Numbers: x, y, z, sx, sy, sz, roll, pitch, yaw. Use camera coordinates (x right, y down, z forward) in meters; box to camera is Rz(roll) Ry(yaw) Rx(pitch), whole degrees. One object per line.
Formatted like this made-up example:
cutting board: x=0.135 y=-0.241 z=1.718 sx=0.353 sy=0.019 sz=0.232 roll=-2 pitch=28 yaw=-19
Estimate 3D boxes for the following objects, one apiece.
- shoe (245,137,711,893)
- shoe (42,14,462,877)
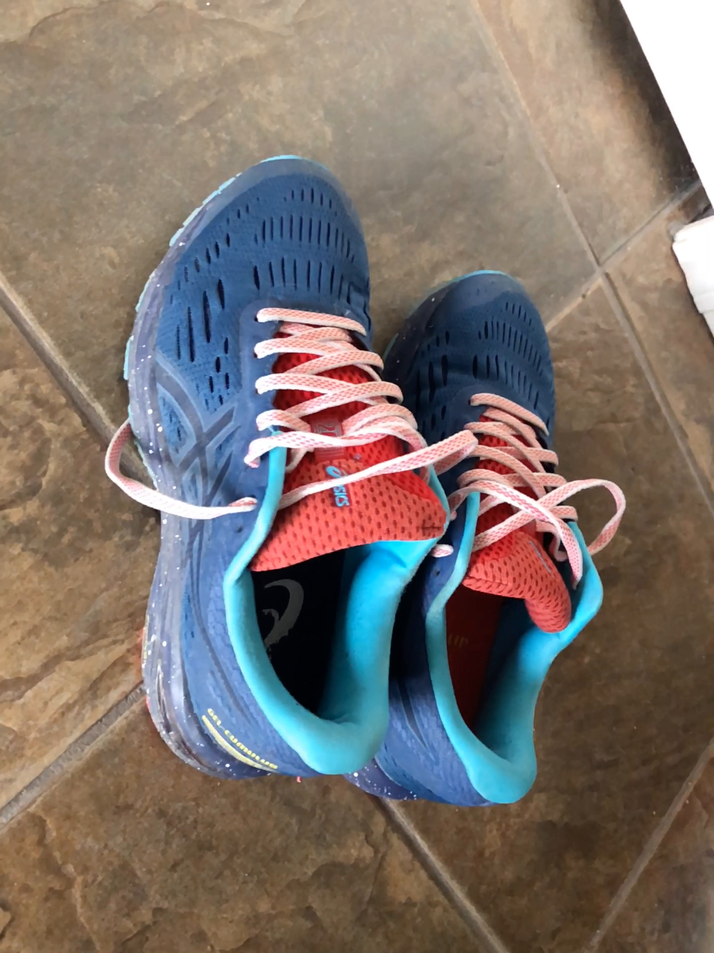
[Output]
shoe: x=0.060 y=0.020 z=0.389 sx=0.120 sy=0.130 sz=0.300 roll=18 pitch=79 yaw=-31
shoe: x=-0.050 y=-0.009 z=0.357 sx=0.120 sy=0.130 sz=0.300 roll=8 pitch=84 yaw=-32
